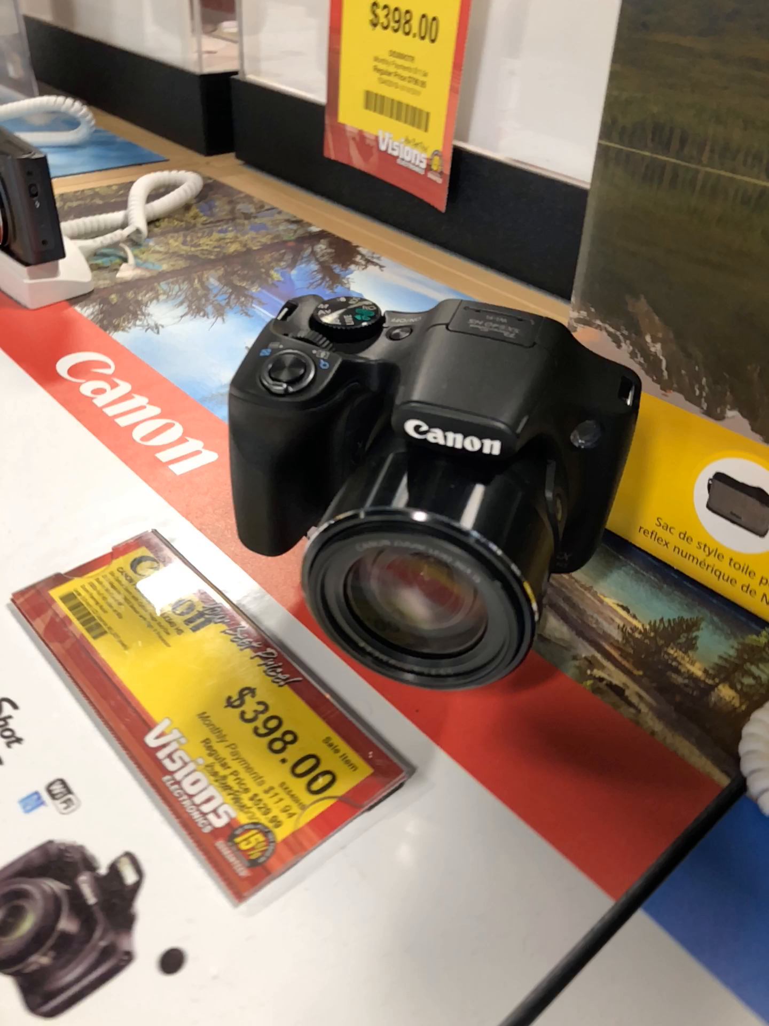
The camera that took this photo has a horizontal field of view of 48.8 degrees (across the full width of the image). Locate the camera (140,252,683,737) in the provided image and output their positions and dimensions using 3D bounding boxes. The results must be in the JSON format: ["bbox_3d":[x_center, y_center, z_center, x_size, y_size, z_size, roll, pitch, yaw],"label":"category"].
[{"bbox_3d":[0.011,-0.013,0.247,0.120,0.079,0.091,15,38,16],"label":"camera"}]
